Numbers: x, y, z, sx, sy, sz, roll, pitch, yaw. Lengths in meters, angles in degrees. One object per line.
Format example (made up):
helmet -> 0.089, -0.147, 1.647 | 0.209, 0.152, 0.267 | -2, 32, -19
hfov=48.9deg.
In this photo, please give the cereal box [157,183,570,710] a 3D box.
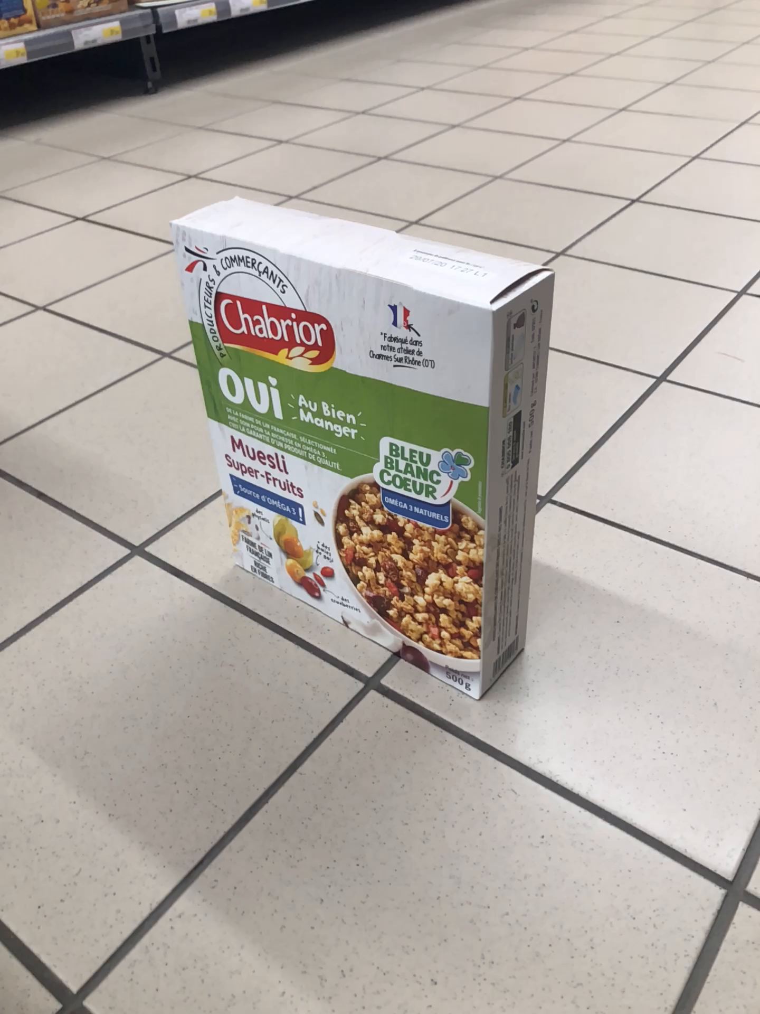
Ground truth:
cereal box -> -0.009, -0.032, 0.442 | 0.190, 0.229, 0.060 | 24, 45, 31
